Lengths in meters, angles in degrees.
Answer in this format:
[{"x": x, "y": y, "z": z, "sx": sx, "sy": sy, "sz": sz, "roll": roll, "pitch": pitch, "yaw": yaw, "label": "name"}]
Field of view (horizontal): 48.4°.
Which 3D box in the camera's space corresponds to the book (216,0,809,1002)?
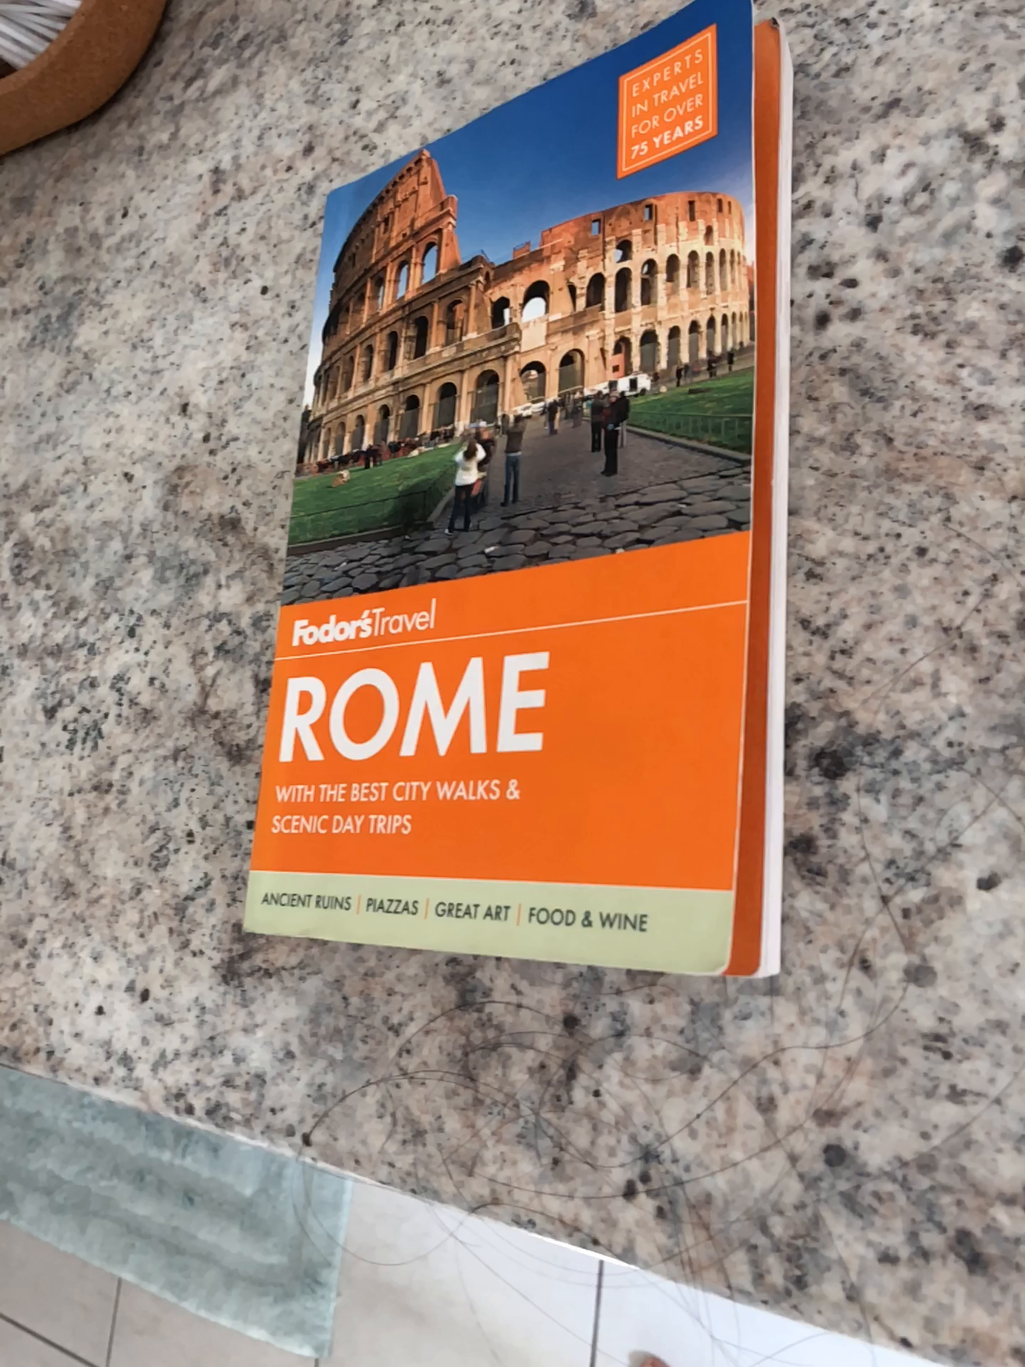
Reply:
[{"x": -0.003, "y": -0.040, "z": 0.267, "sx": 0.139, "sy": 0.023, "sz": 0.207, "roll": -5, "pitch": 75, "yaw": 38, "label": "book"}]
